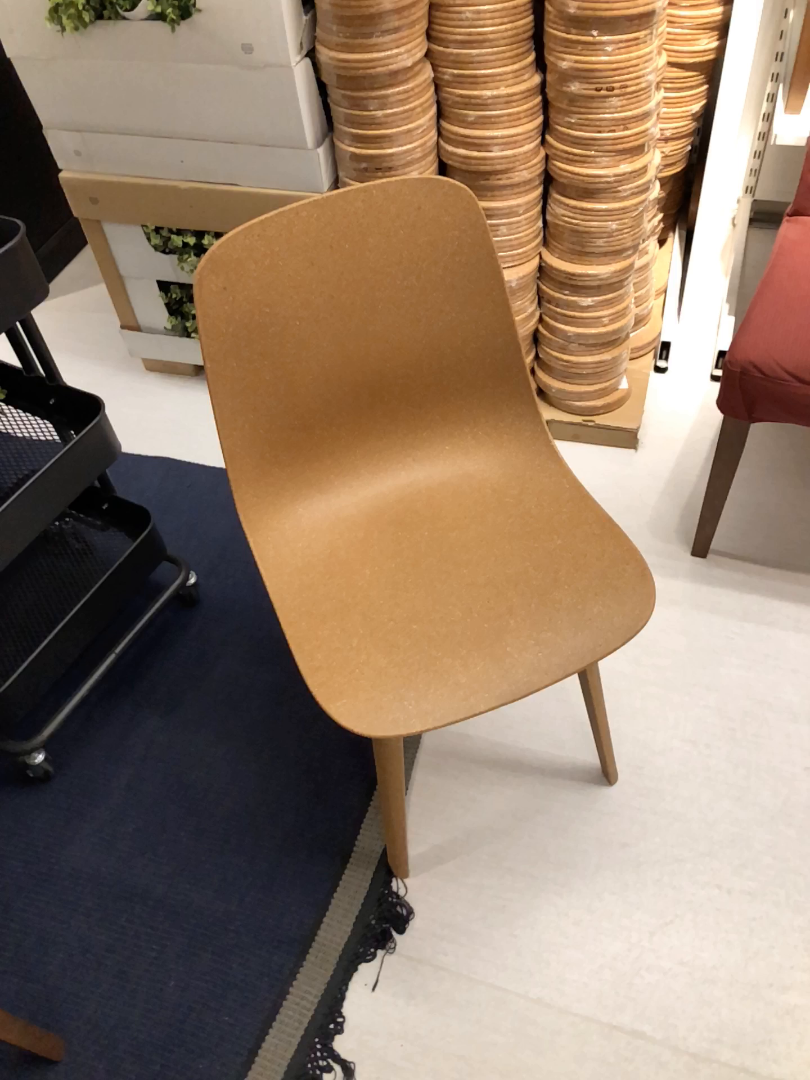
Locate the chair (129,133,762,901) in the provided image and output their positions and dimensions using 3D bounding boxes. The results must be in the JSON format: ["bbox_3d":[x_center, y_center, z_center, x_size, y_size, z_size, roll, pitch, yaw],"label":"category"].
[{"bbox_3d":[0.027,0.004,1.169,0.440,0.746,0.553,-21,52,-10],"label":"chair"}]
